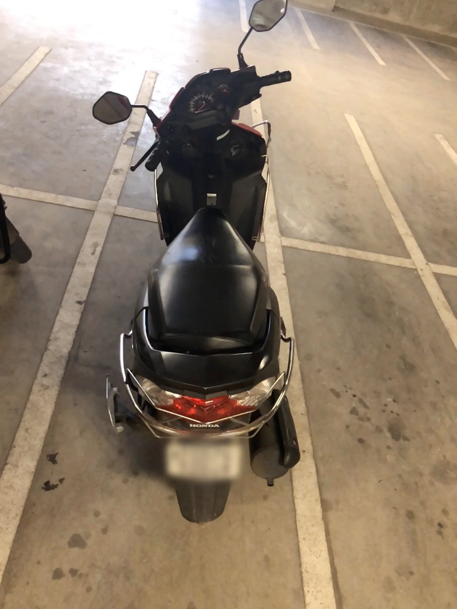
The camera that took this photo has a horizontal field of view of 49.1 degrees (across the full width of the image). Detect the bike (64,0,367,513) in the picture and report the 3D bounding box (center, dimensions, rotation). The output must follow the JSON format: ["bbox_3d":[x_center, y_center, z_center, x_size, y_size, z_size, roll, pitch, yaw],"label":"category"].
[{"bbox_3d":[-0.176,-0.465,1.980,0.582,1.188,1.960,7,46,-11],"label":"bike"}]
